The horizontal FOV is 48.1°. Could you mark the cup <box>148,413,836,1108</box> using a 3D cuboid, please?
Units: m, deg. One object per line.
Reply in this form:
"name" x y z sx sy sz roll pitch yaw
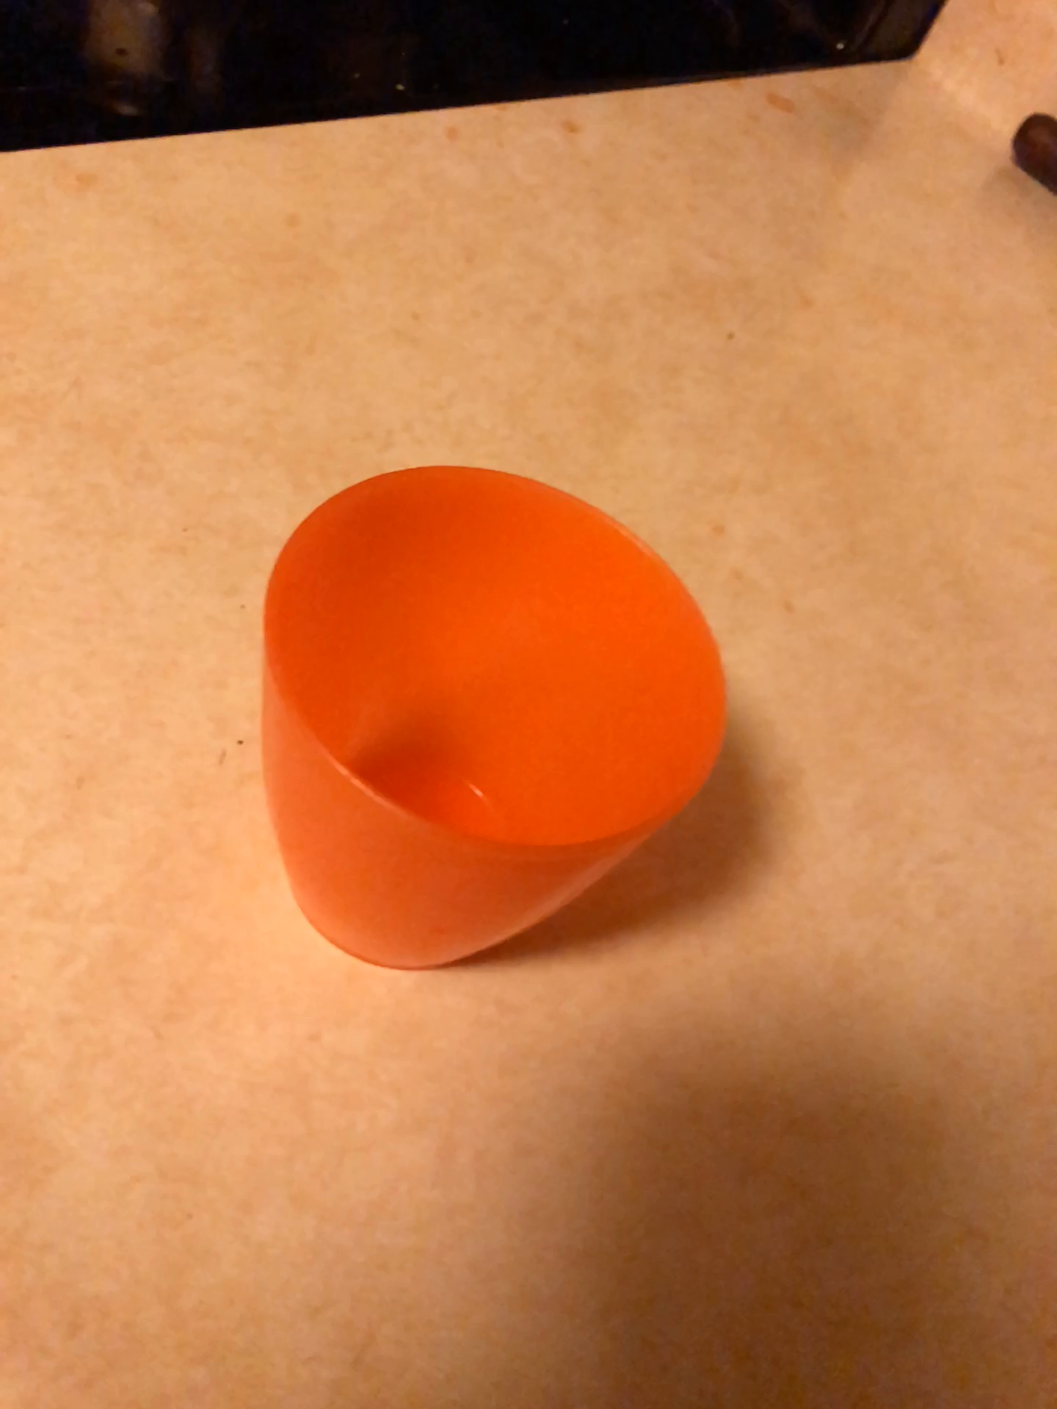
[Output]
"cup" -0.012 0.008 0.218 0.080 0.070 0.080 11 52 -14
